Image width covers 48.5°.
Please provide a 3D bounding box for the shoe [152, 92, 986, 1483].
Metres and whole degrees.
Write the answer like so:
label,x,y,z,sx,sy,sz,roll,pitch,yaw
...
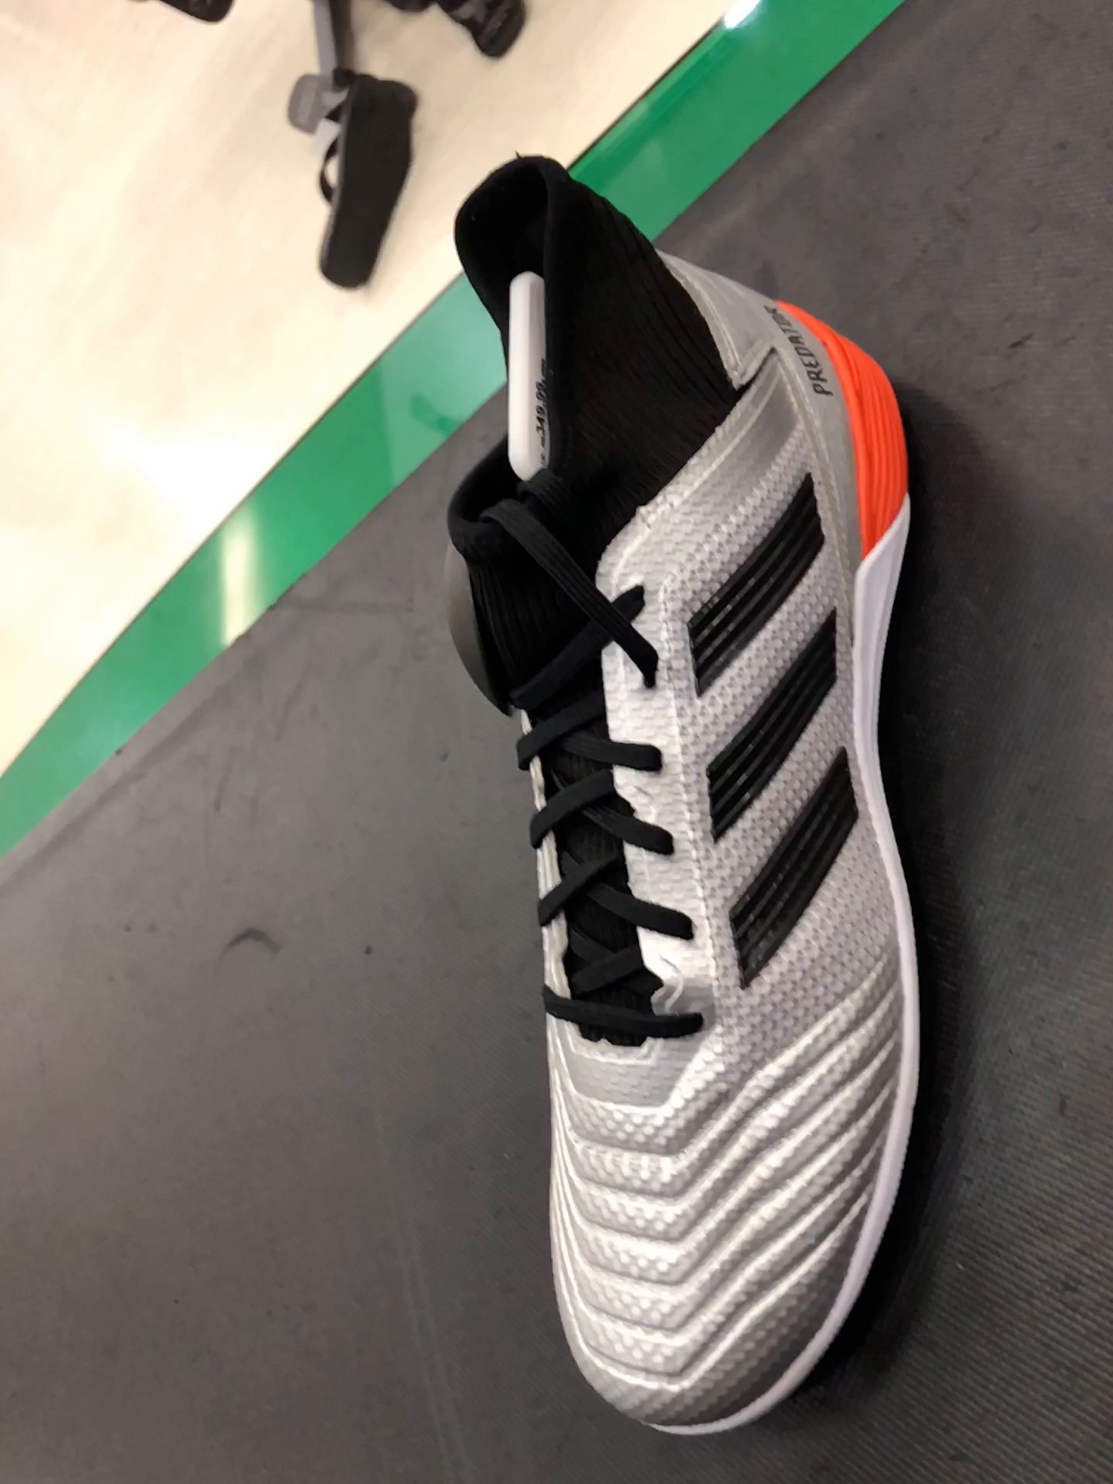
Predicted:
label,x,y,z,sx,sy,sz,roll,pitch,yaw
shoe,0.017,0.022,0.276,0.091,0.139,0.250,-7,71,45
